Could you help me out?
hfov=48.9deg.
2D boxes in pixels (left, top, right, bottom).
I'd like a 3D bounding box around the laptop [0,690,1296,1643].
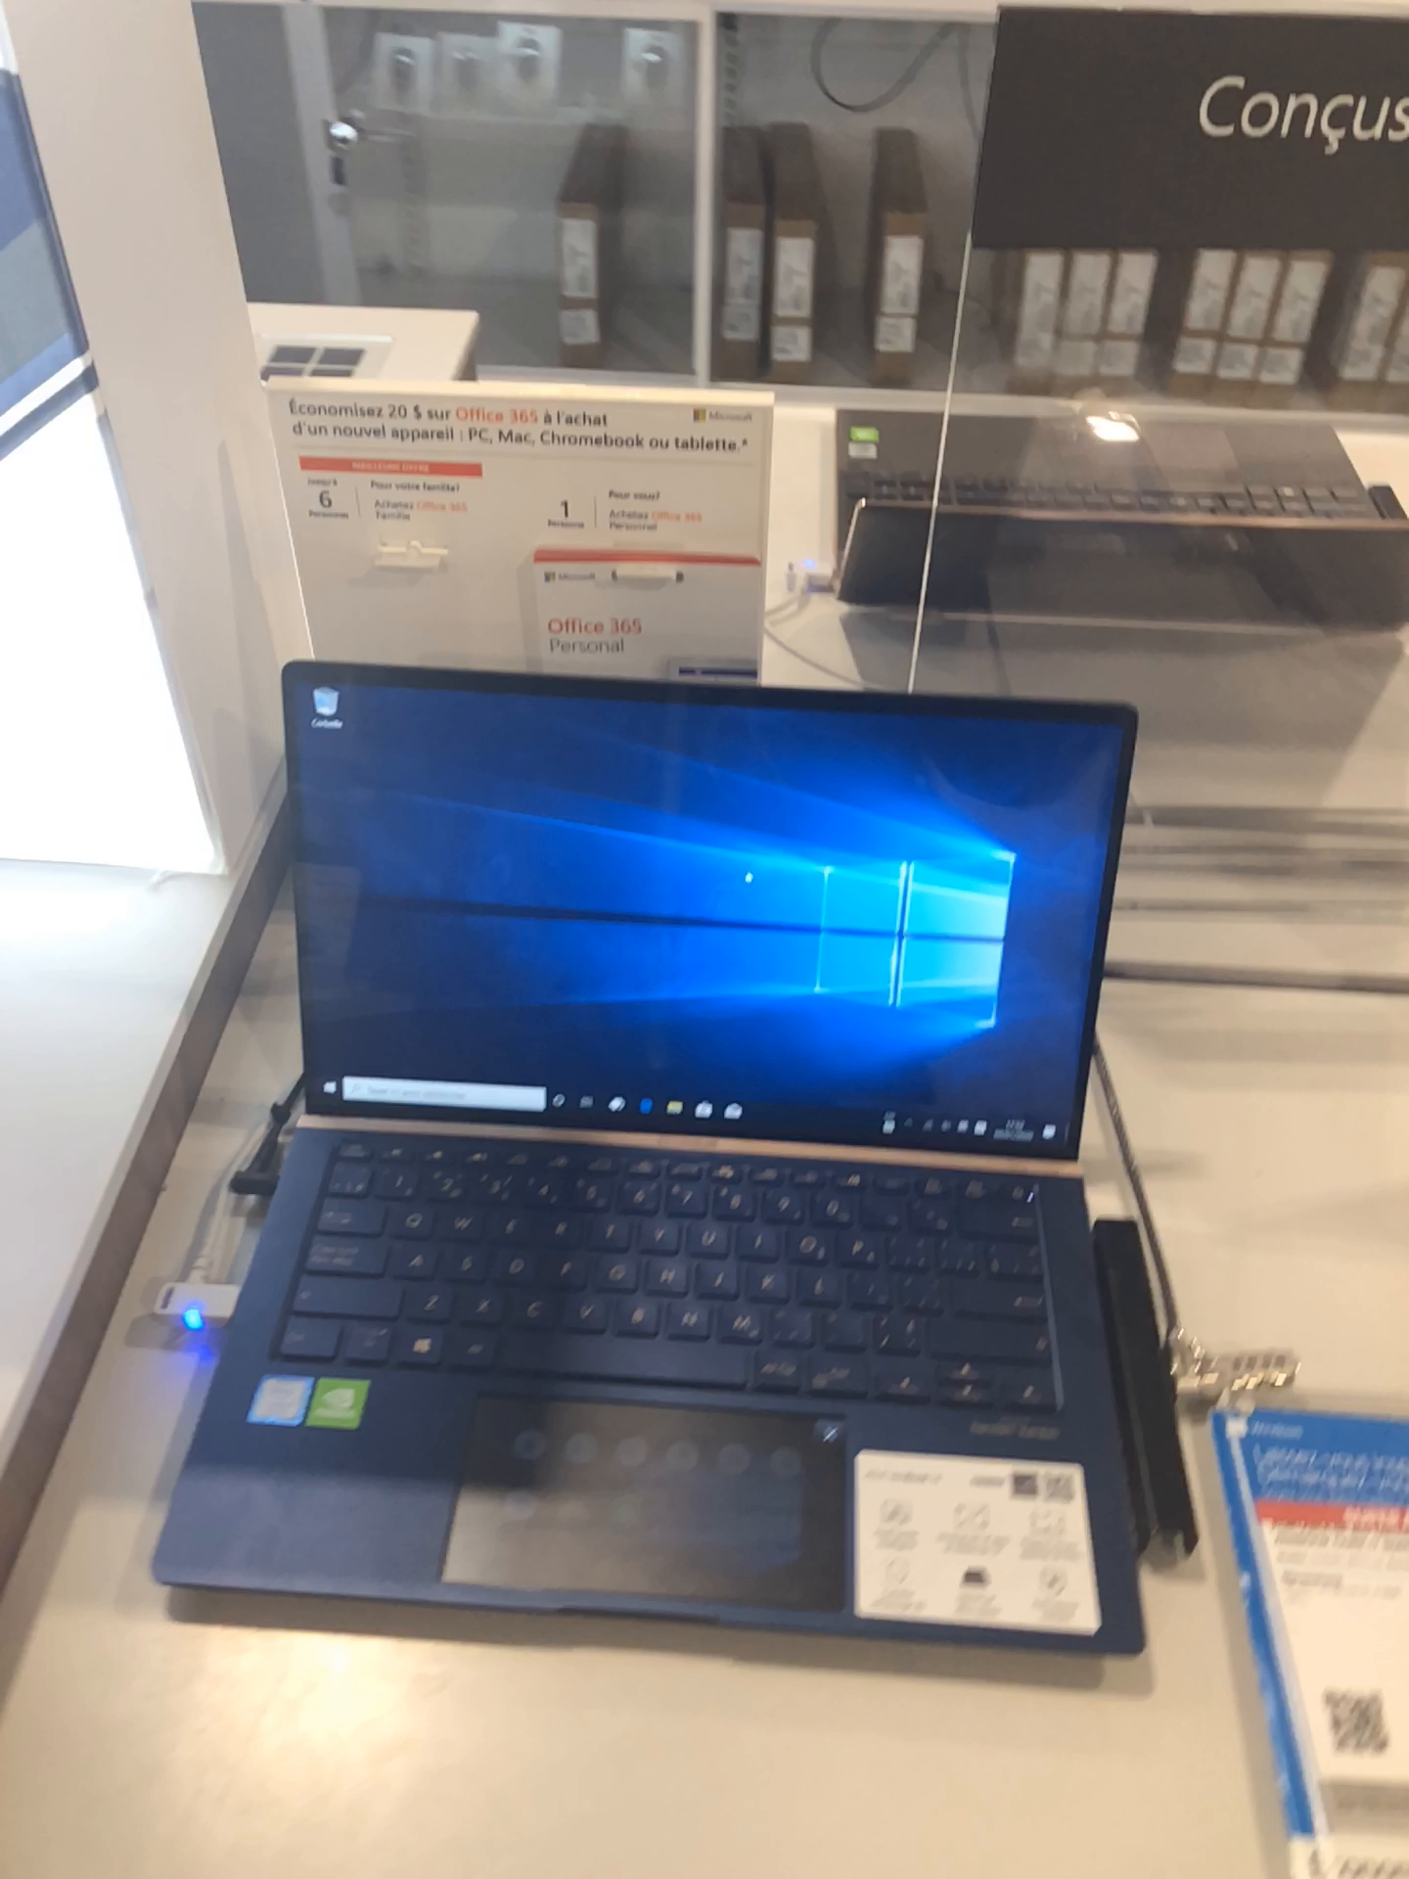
[{"bbox_3d":[-0.011,0.064,0.523,0.308,0.179,0.254,3,40,2],"label":"laptop"}]
